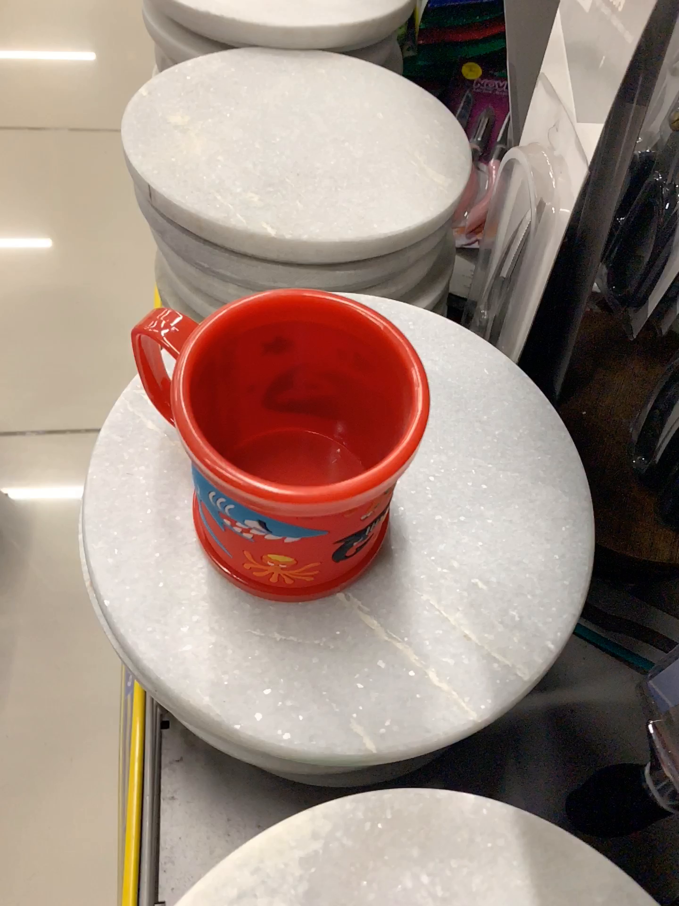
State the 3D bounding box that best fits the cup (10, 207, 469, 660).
[{"bbox_3d":[-0.034,-0.006,0.261,0.120,0.100,0.080,32,59,15],"label":"cup"}]
